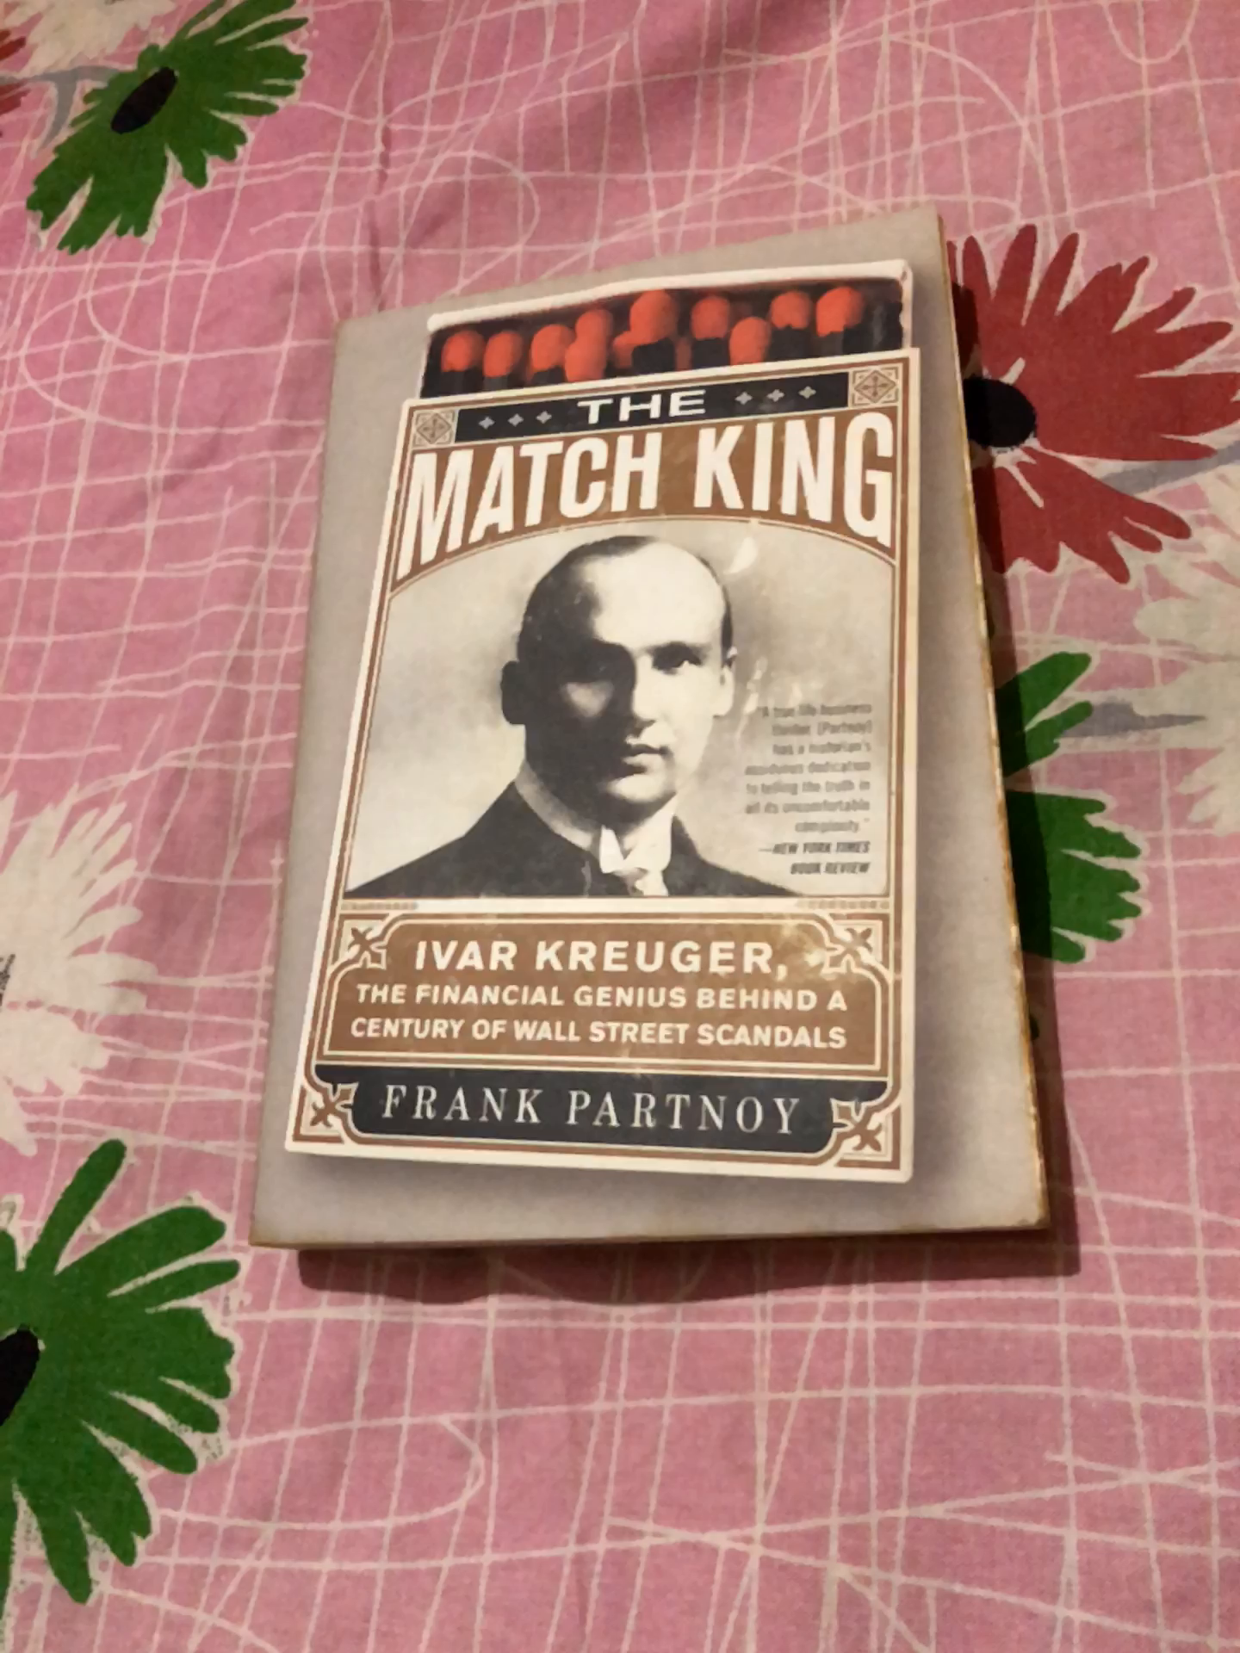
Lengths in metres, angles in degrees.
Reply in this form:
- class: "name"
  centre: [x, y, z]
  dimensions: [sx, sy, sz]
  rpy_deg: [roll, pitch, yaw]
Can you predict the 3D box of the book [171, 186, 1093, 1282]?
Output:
- class: "book"
  centre: [0.000, -0.031, 0.304]
  dimensions: [0.160, 0.030, 0.240]
  rpy_deg: [-7, 61, 13]
